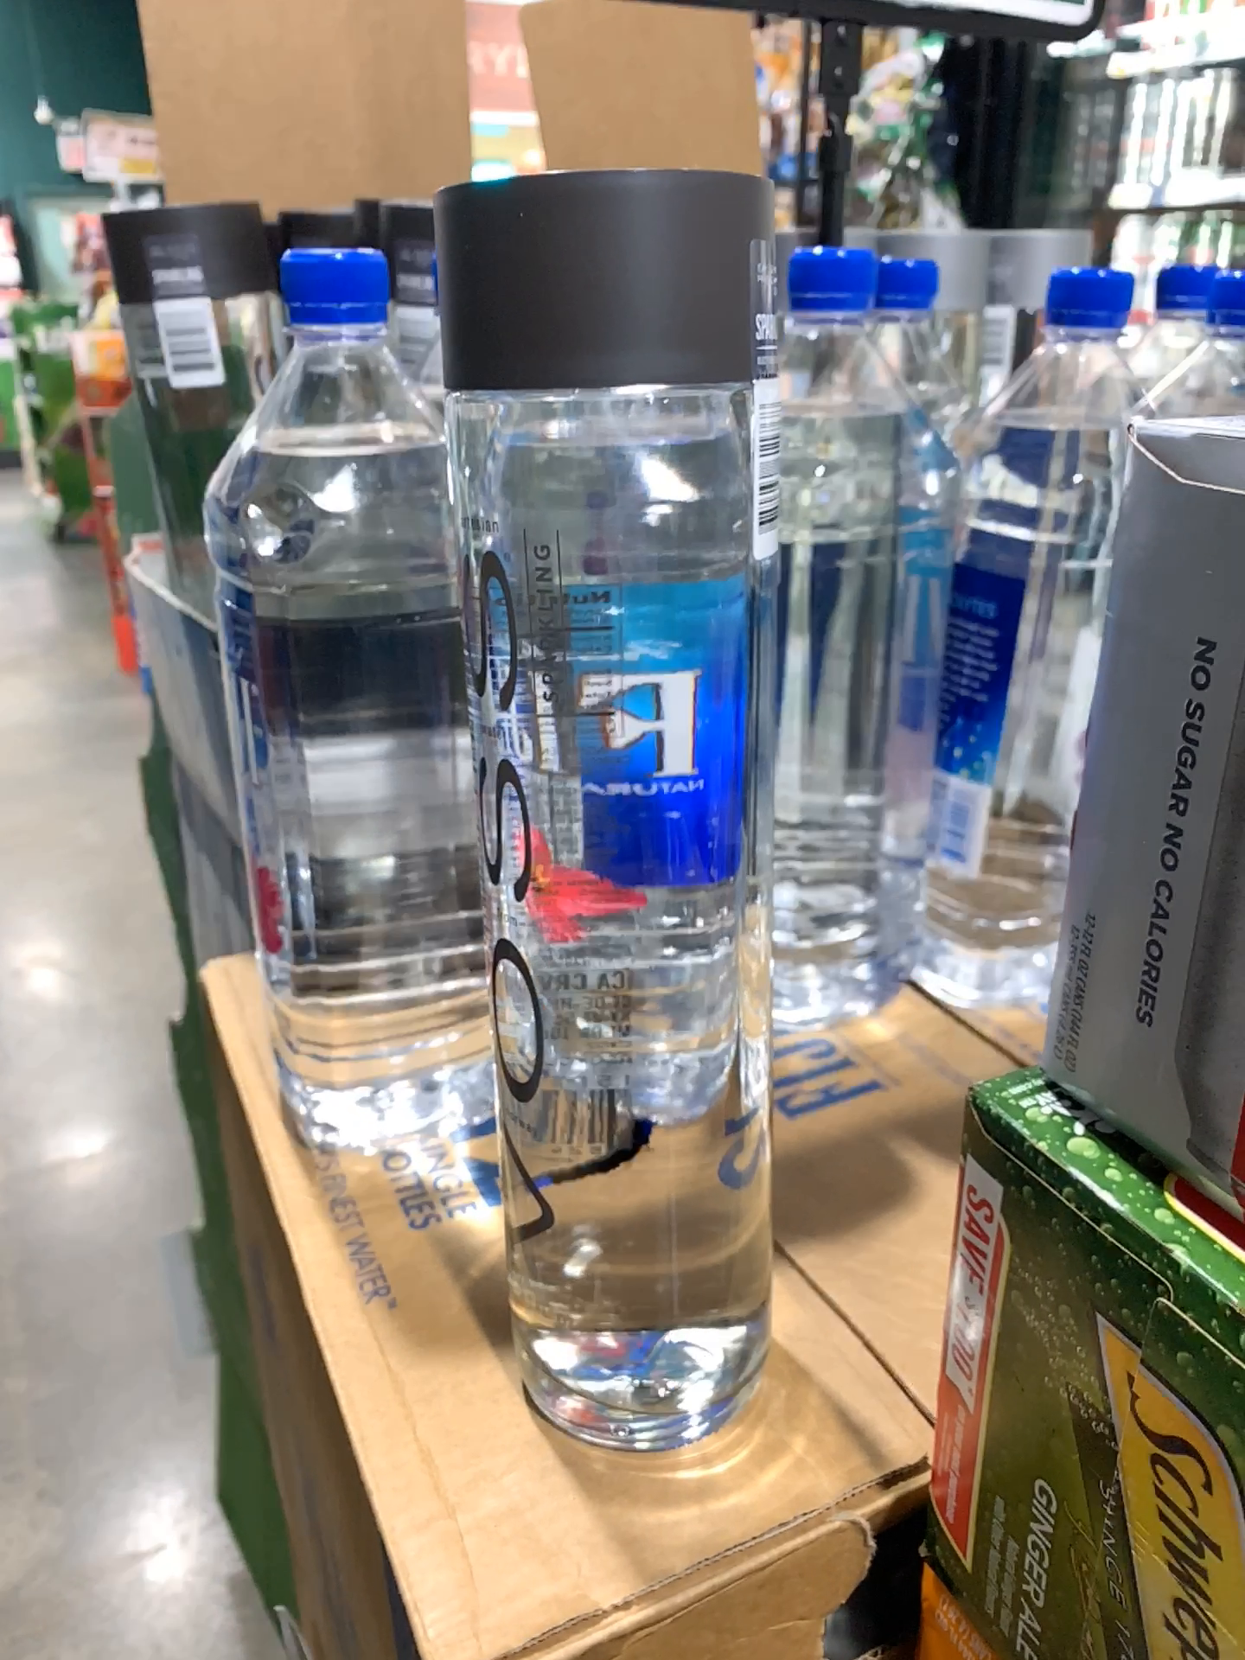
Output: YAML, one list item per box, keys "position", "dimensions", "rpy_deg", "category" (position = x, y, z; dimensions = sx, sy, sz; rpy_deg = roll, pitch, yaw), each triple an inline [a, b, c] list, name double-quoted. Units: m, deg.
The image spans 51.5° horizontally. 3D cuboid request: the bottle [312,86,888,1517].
- position: [-0.005, 0.003, 0.295]
  dimensions: [0.080, 0.289, 0.080]
  rpy_deg: [-1, 21, 0]
  category: "bottle"
